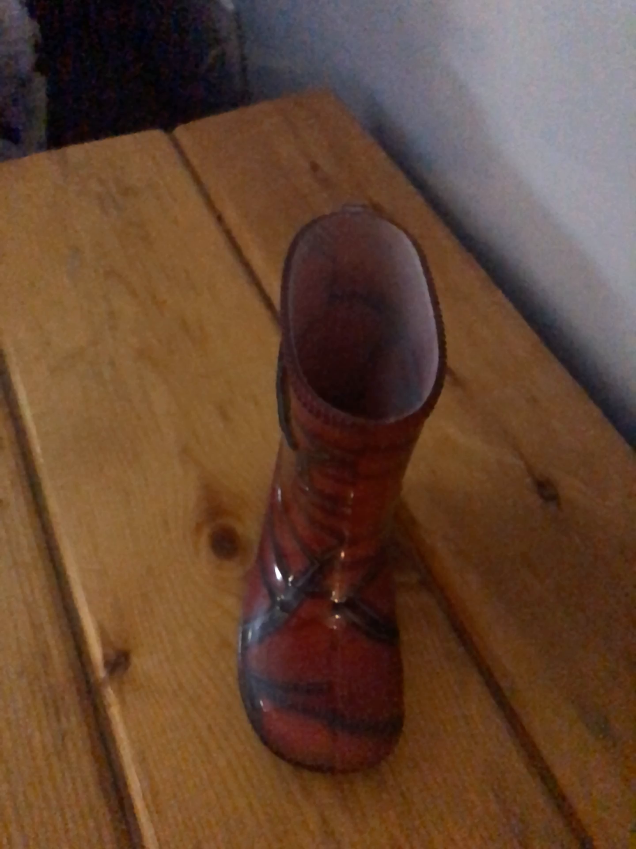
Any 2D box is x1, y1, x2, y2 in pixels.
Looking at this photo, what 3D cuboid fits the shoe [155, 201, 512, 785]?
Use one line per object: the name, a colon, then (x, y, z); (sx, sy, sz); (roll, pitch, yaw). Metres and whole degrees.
shoe: (0.001, 0.037, 0.275); (0.080, 0.170, 0.160); (1, 55, -2)
